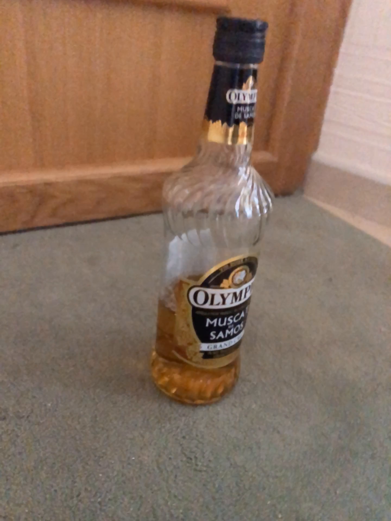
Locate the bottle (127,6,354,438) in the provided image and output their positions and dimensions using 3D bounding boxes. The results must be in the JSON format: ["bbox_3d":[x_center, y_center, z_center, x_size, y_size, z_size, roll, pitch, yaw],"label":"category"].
[{"bbox_3d":[0.011,-0.014,0.321,0.090,0.288,0.090,5,30,-3],"label":"bottle"}]
